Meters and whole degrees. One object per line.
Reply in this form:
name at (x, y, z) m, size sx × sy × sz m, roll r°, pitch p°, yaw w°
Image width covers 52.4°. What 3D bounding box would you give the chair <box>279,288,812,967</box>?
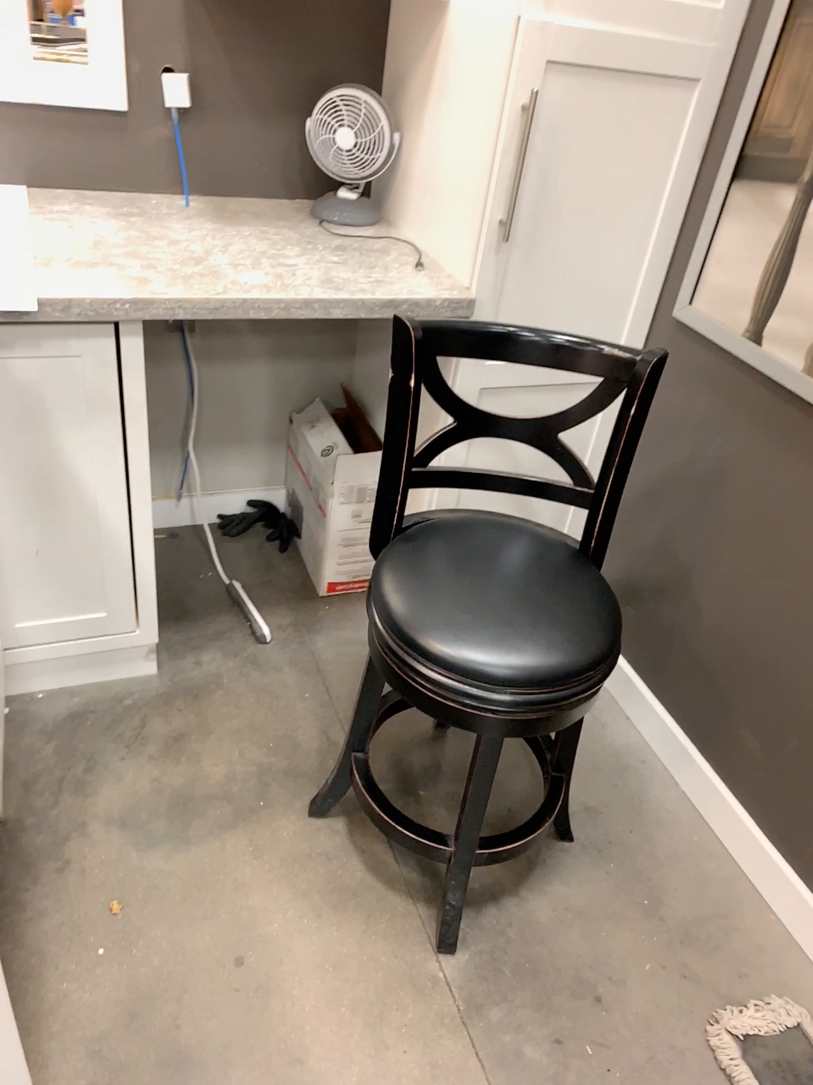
chair at (0.123, 0.156, 1.394) m, size 0.557 × 0.911 × 0.607 m, roll 6°, pitch 35°, yaw -5°
